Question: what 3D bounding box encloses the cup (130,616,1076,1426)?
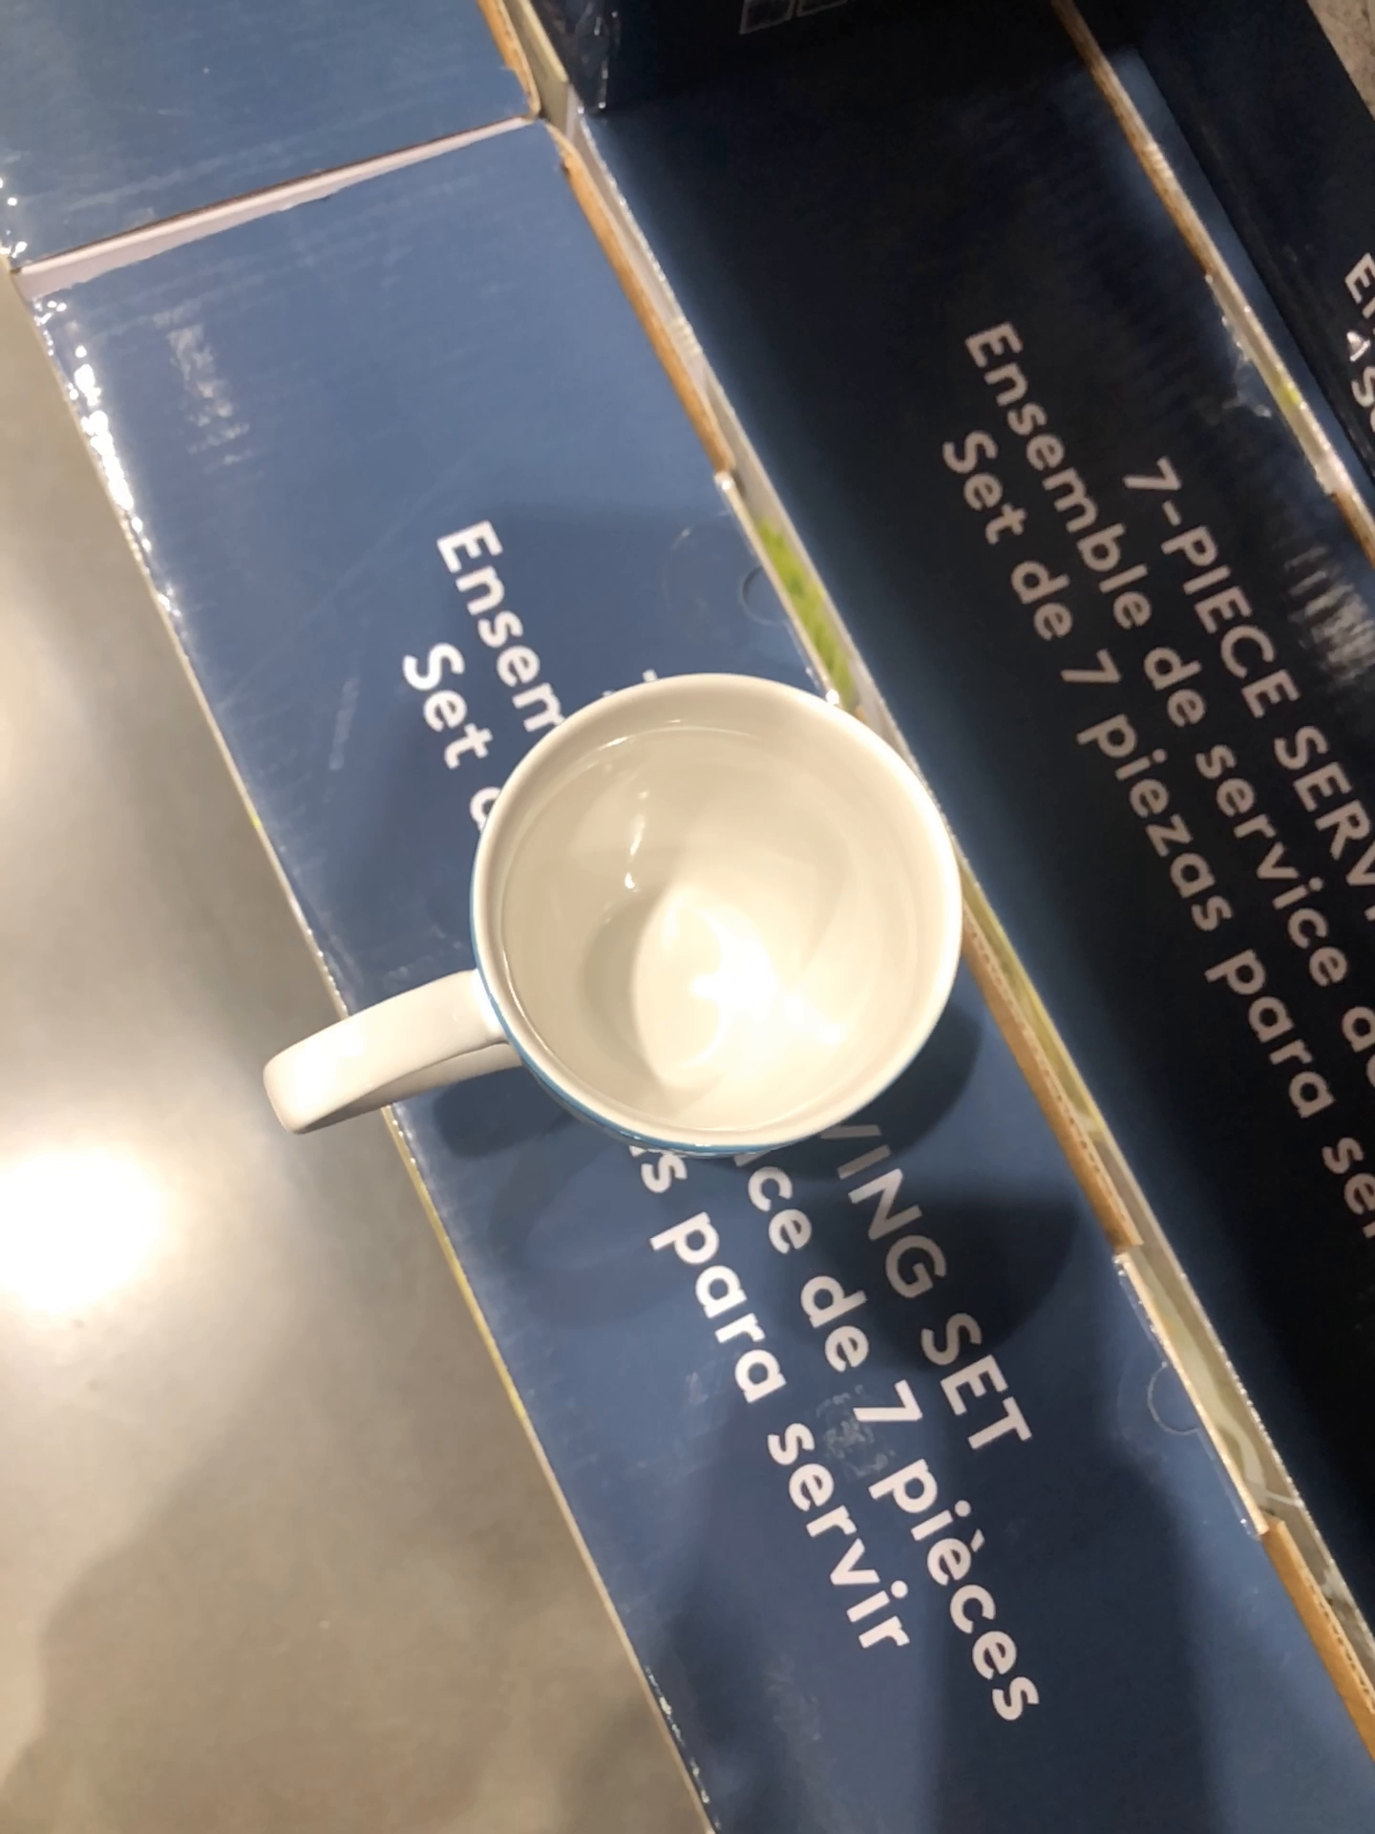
[{"bbox_3d":[-0.018,0.022,0.308,0.136,0.096,0.089,-25,82,-12],"label":"cup"}]
